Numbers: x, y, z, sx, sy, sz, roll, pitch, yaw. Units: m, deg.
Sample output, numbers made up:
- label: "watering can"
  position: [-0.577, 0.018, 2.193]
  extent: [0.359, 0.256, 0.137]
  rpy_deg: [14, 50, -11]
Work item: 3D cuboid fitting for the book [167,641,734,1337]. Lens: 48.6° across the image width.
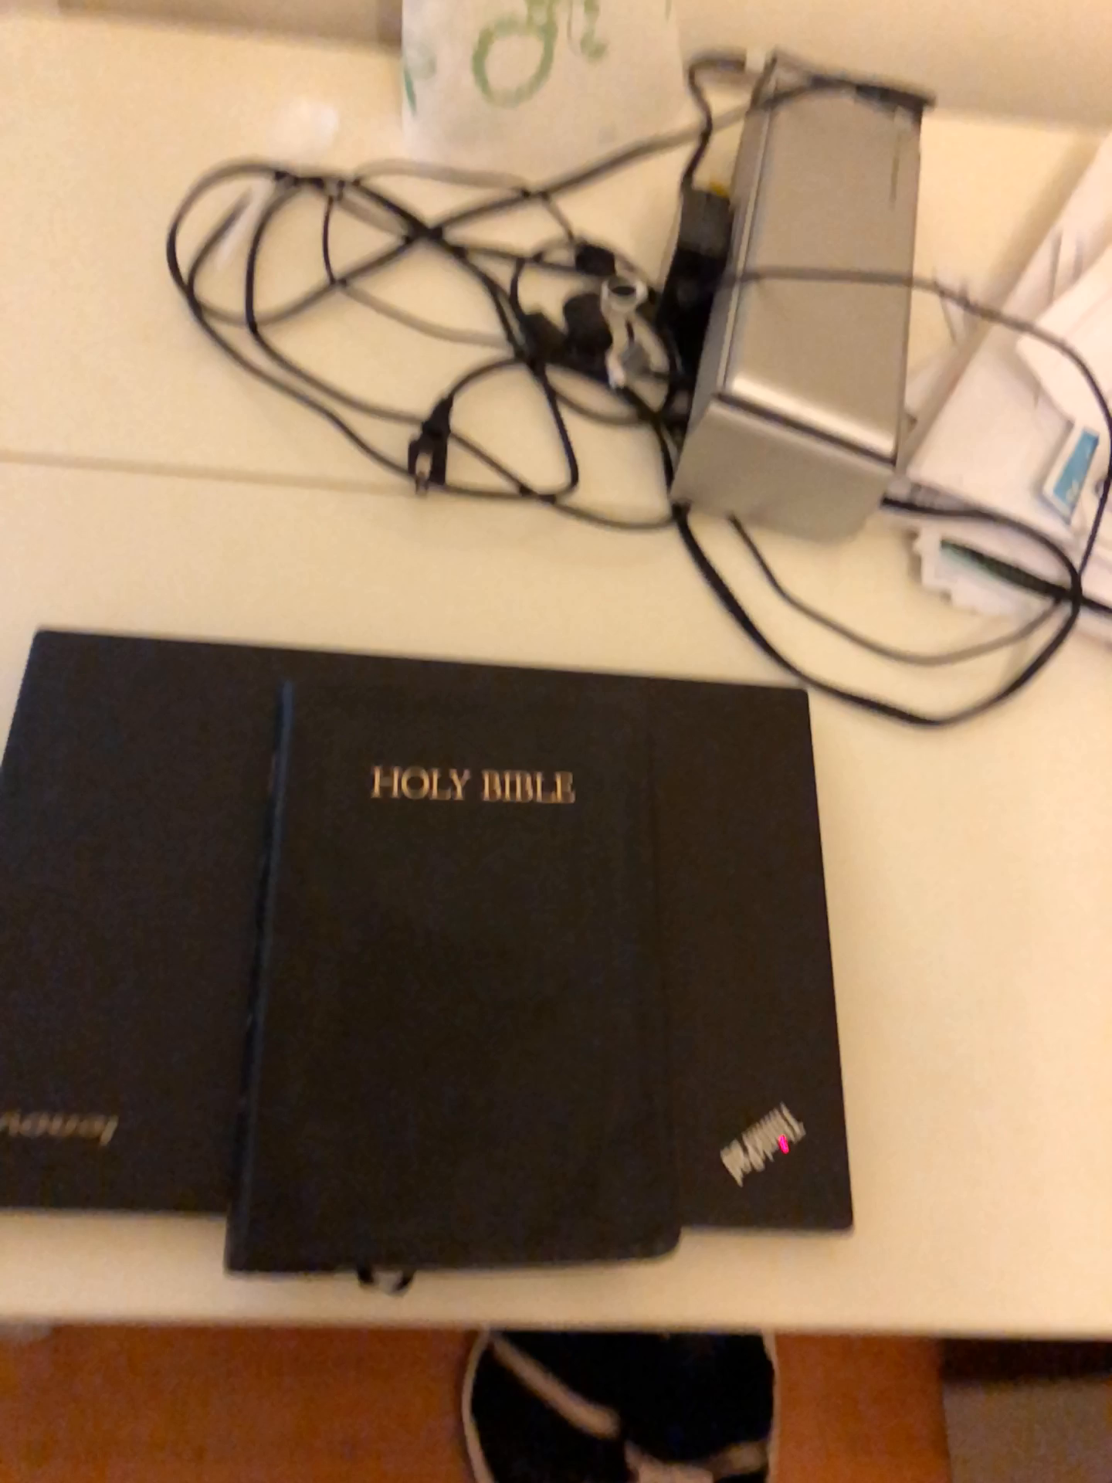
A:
- label: "book"
  position: [-0.034, 0.080, 0.446]
  extent: [0.170, 0.040, 0.240]
  rpy_deg: [2, 61, -6]
